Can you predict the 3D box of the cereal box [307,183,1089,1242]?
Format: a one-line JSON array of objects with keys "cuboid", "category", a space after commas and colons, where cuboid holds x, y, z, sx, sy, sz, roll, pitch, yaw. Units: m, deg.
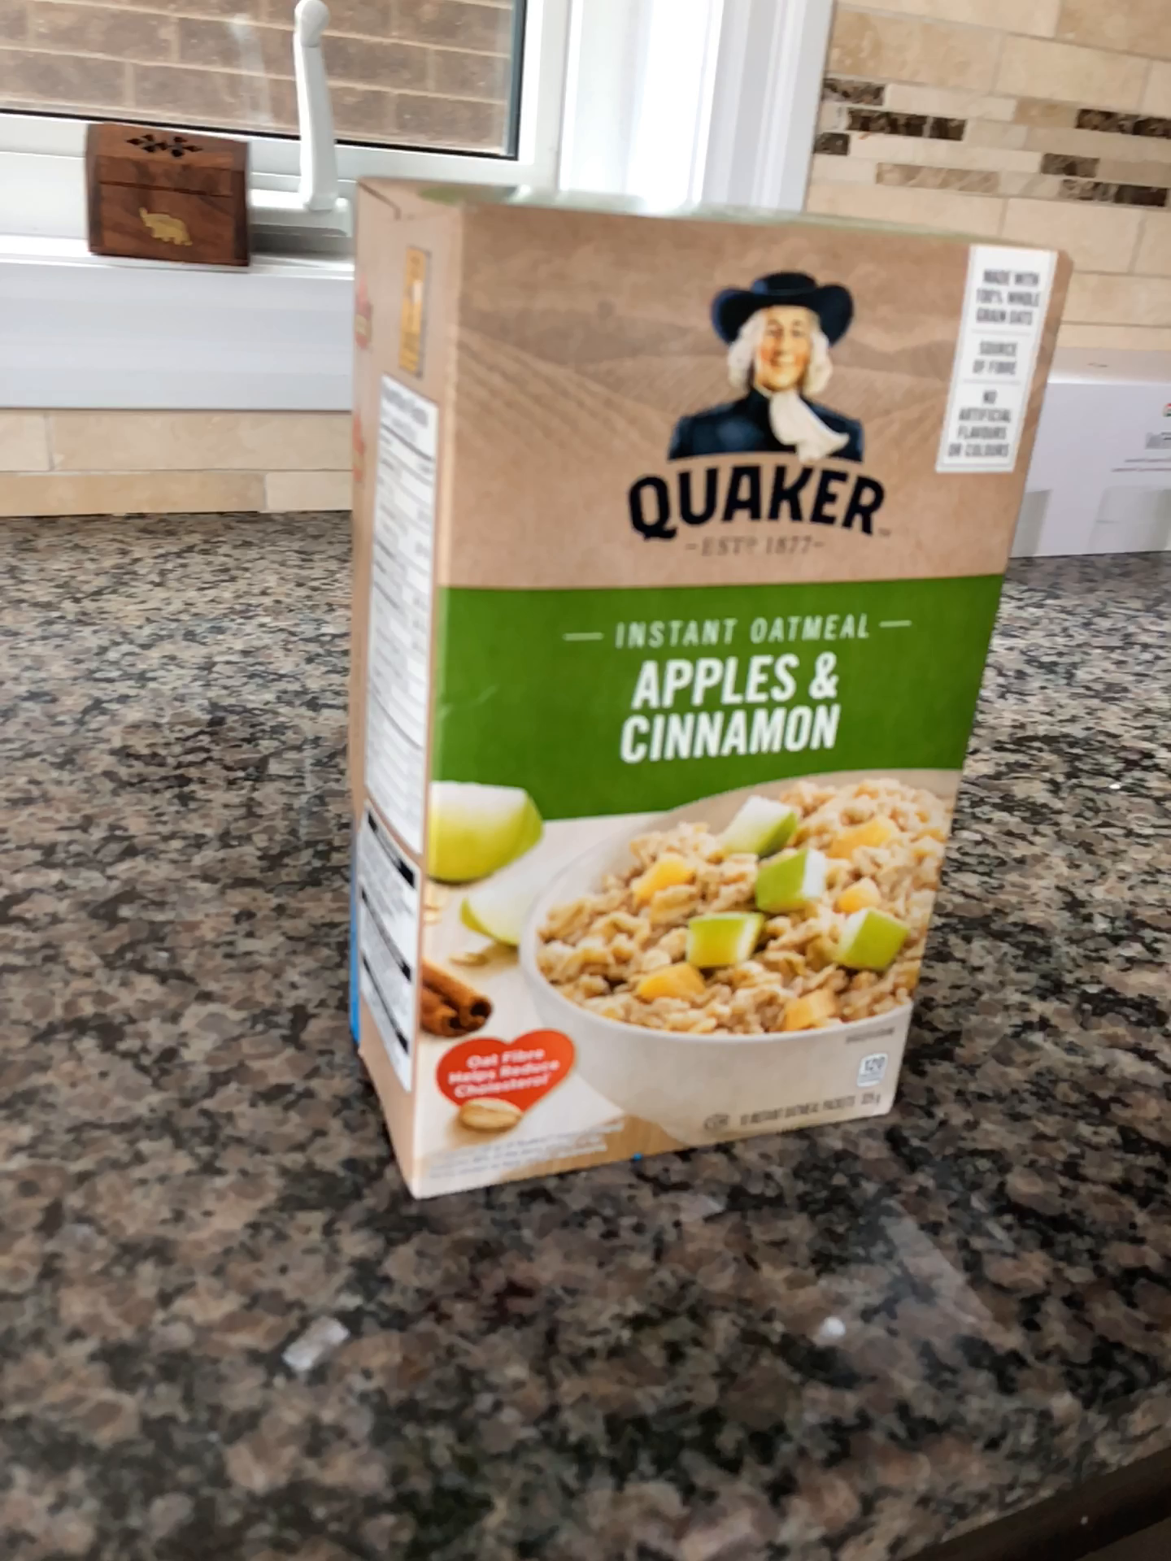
[{"cuboid": [0.008, -0.016, 0.301, 0.130, 0.209, 0.090, -4, 27, -20], "category": "cereal box"}]
